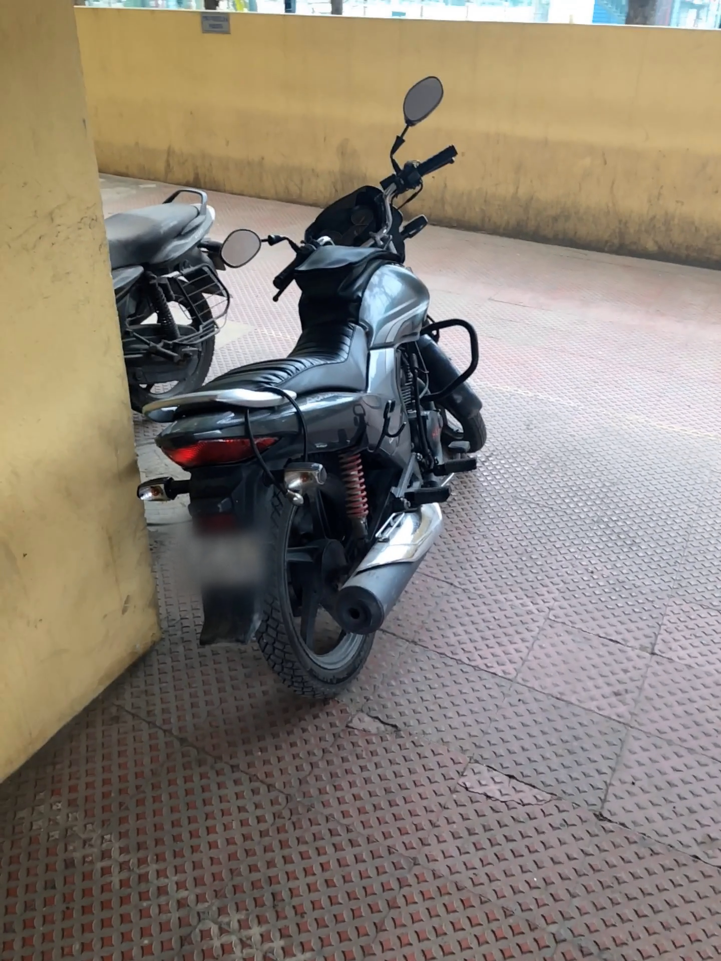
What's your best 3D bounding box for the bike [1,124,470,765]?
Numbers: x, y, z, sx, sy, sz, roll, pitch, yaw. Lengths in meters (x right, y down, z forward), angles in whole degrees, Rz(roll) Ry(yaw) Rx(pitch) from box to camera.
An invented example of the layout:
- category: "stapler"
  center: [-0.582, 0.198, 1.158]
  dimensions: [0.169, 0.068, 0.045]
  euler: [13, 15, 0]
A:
- category: "bike"
  center: [-0.170, -0.272, 2.263]
  dimensions: [0.720, 1.166, 1.476]
  euler: [8, 32, 11]
